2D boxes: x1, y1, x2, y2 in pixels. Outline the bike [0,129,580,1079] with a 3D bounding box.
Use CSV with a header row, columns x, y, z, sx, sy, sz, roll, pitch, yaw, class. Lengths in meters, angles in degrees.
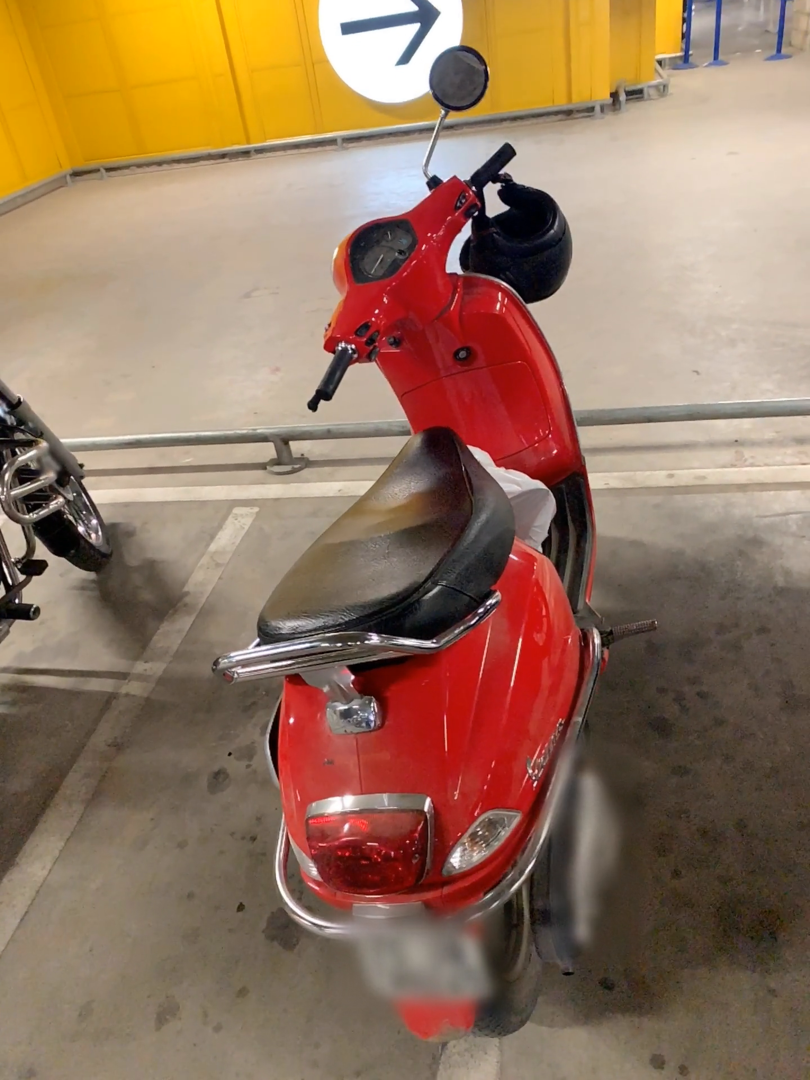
x,y,z,sx,sy,sz,roll,pitch,yaw,class
-0.048,-0.061,1.763,0.632,1.201,1.687,-4,33,8,bike
